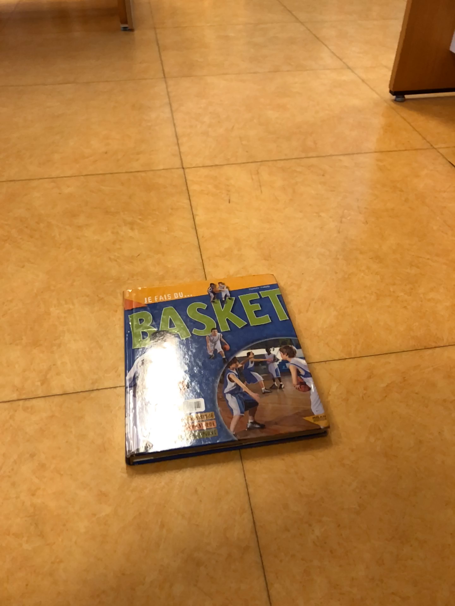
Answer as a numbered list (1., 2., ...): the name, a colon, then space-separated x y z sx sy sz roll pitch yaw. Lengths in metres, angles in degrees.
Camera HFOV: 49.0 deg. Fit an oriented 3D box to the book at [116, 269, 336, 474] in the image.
1. book: -0.019 0.058 0.576 0.210 0.020 0.258 -7 42 -7
